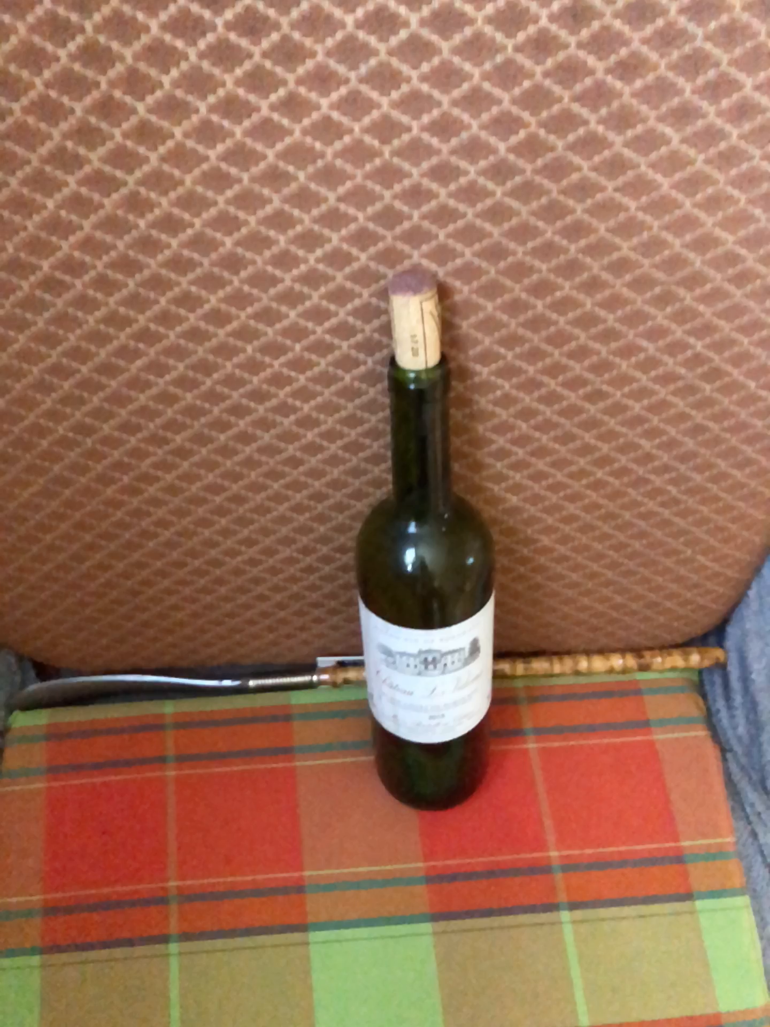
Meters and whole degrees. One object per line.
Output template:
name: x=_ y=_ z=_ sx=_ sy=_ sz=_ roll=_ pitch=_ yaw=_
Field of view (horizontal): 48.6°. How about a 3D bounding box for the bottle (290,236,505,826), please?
bottle: x=0.019 y=0.036 z=0.448 sx=0.080 sy=0.339 sz=0.070 roll=-1 pitch=38 yaw=6
